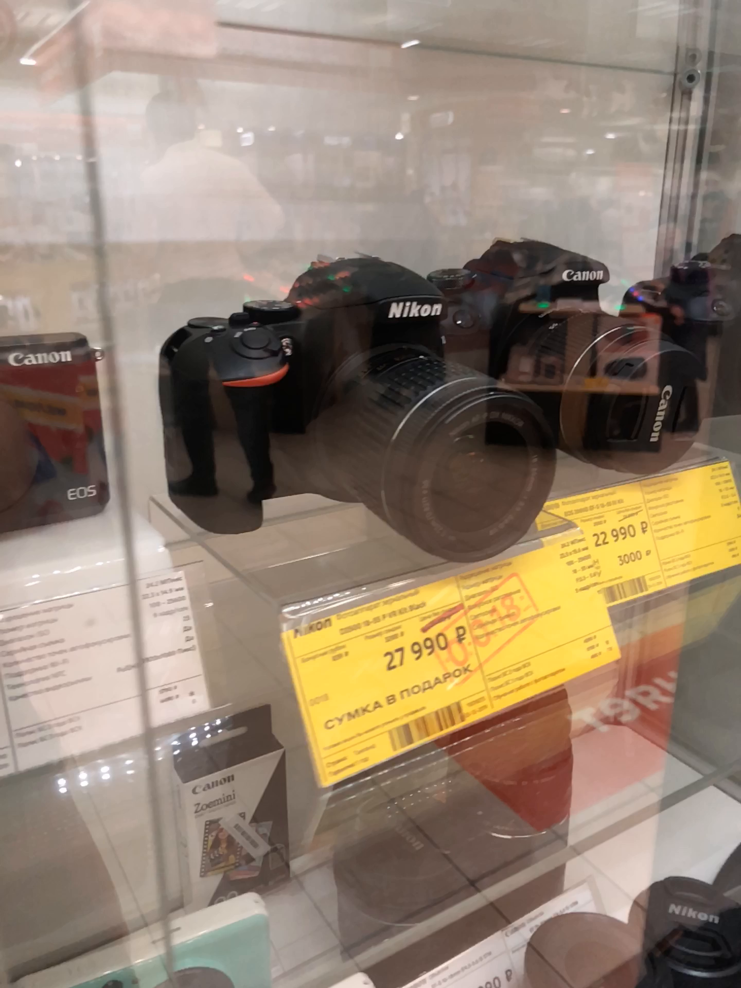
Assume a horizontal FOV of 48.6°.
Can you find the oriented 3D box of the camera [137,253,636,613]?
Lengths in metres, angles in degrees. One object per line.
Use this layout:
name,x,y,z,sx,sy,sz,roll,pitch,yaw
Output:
camera,0.000,-0.037,0.300,0.130,0.092,0.120,-11,21,-30
